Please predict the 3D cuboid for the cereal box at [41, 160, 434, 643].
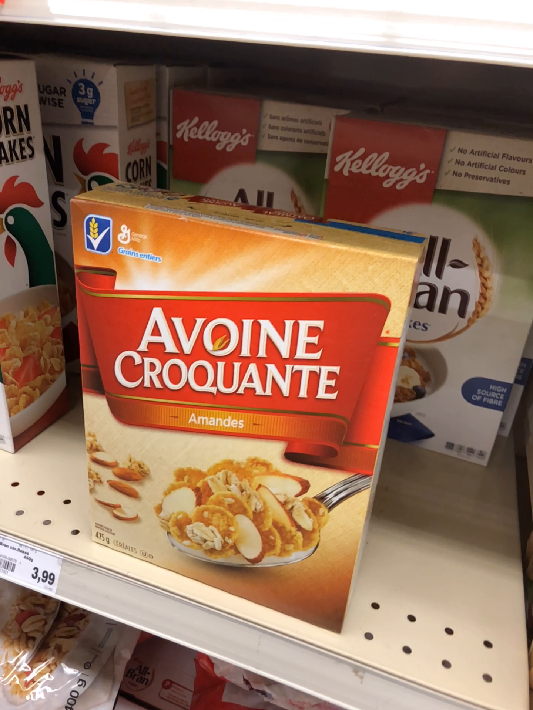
[{"bbox_3d":[-0.027,0.033,0.374,0.200,0.268,0.060,14,29,16],"label":"cereal box"}]
